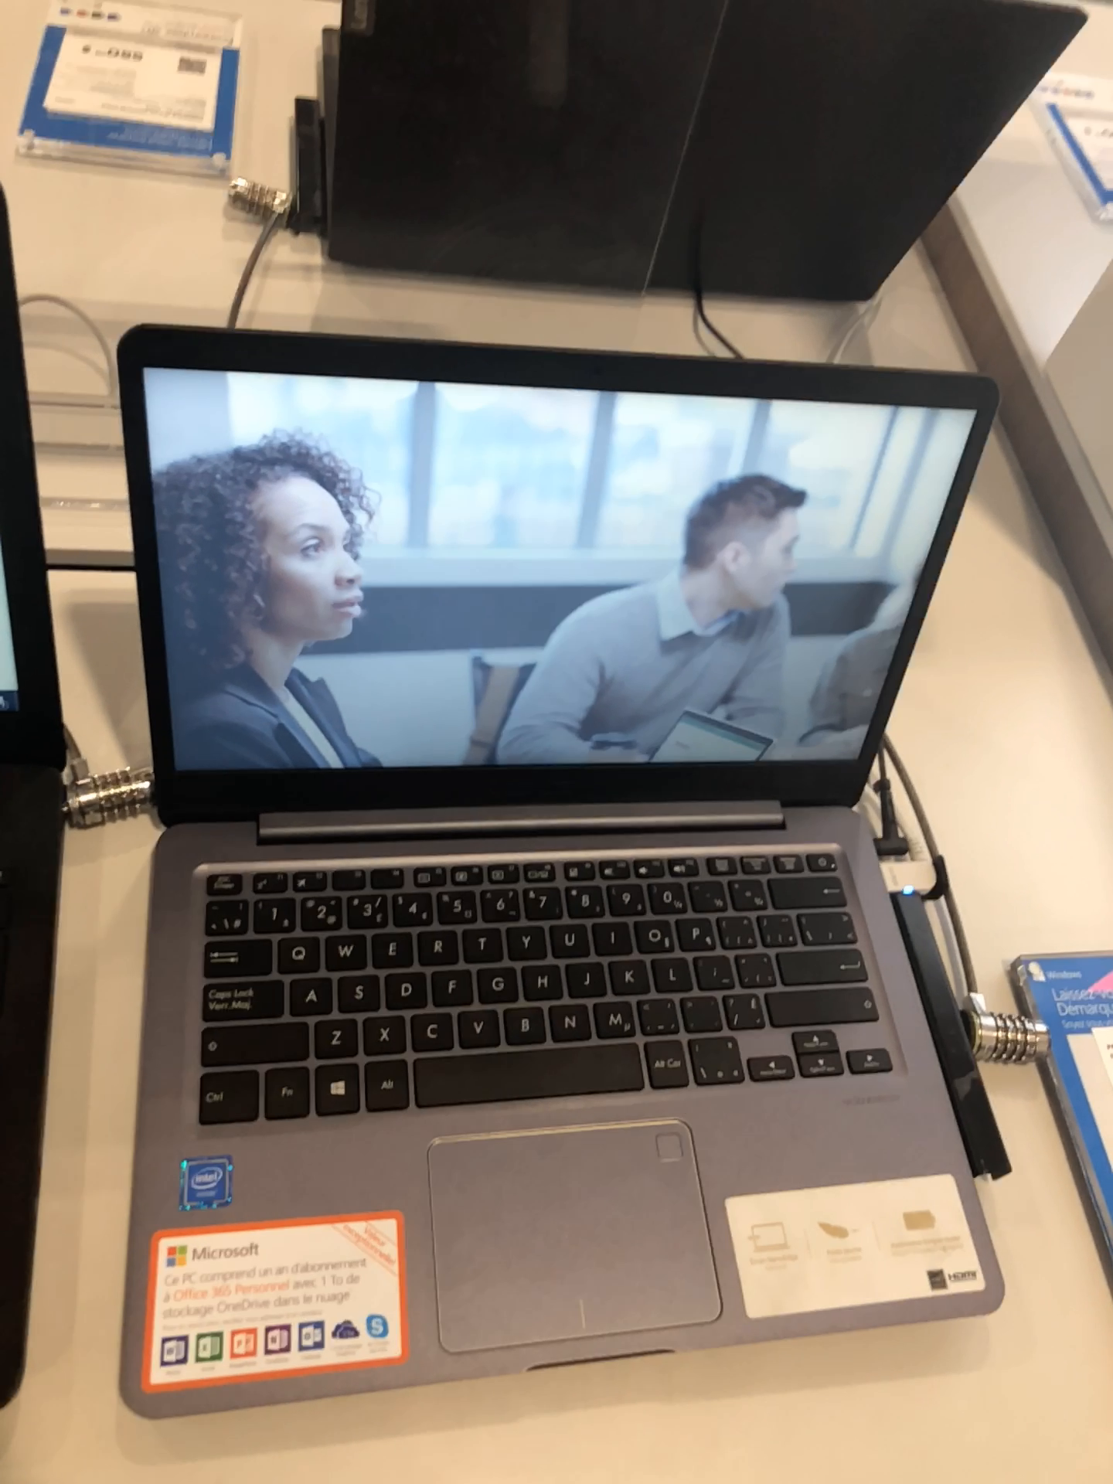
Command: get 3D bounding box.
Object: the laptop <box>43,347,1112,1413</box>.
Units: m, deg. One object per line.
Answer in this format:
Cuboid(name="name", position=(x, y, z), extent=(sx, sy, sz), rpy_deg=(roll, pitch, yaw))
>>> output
Cuboid(name="laptop", position=(0.017, 0.043, 0.438), extent=(0.316, 0.197, 0.292), rpy_deg=(-1, 57, -13))
